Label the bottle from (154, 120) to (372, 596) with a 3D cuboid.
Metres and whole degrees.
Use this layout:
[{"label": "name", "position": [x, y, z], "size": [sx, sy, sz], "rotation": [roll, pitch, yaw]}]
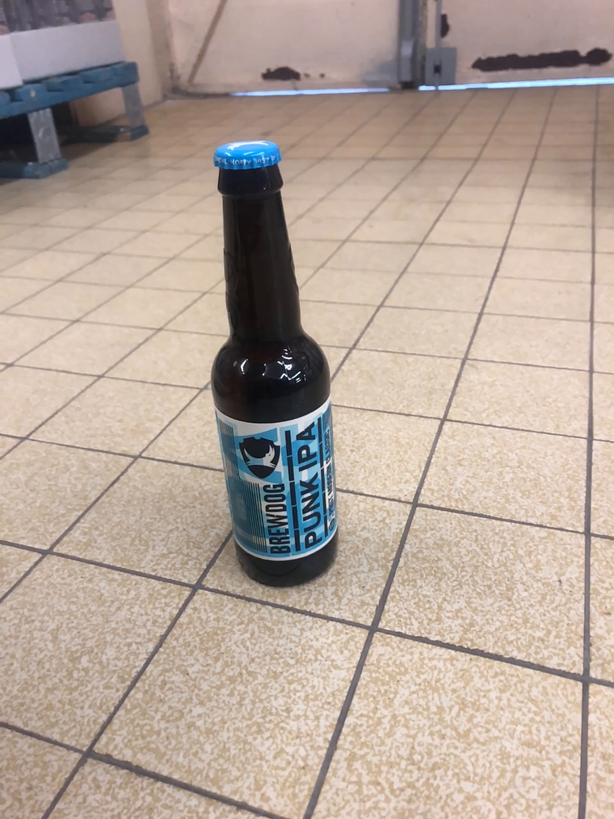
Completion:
[{"label": "bottle", "position": [-0.016, -0.020, 0.328], "size": [0.070, 0.209, 0.070], "rotation": [-3, 30, 2]}]
